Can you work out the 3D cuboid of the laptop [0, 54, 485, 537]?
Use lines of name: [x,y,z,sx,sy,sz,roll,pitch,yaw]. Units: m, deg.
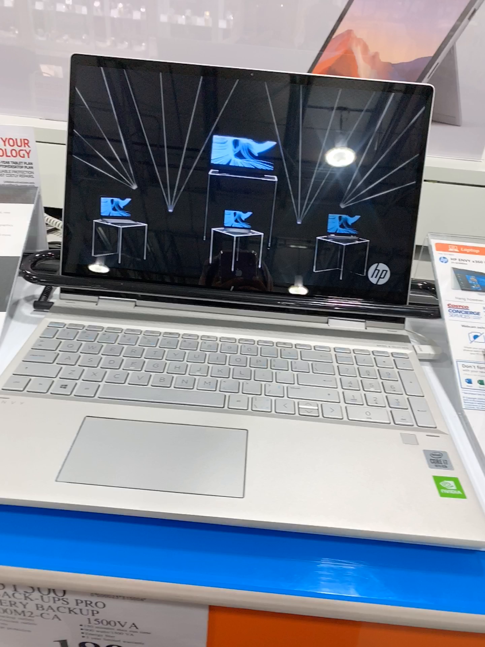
laptop: [-0.007,-0.065,0.387,0.346,0.210,0.341,5,31,0]
